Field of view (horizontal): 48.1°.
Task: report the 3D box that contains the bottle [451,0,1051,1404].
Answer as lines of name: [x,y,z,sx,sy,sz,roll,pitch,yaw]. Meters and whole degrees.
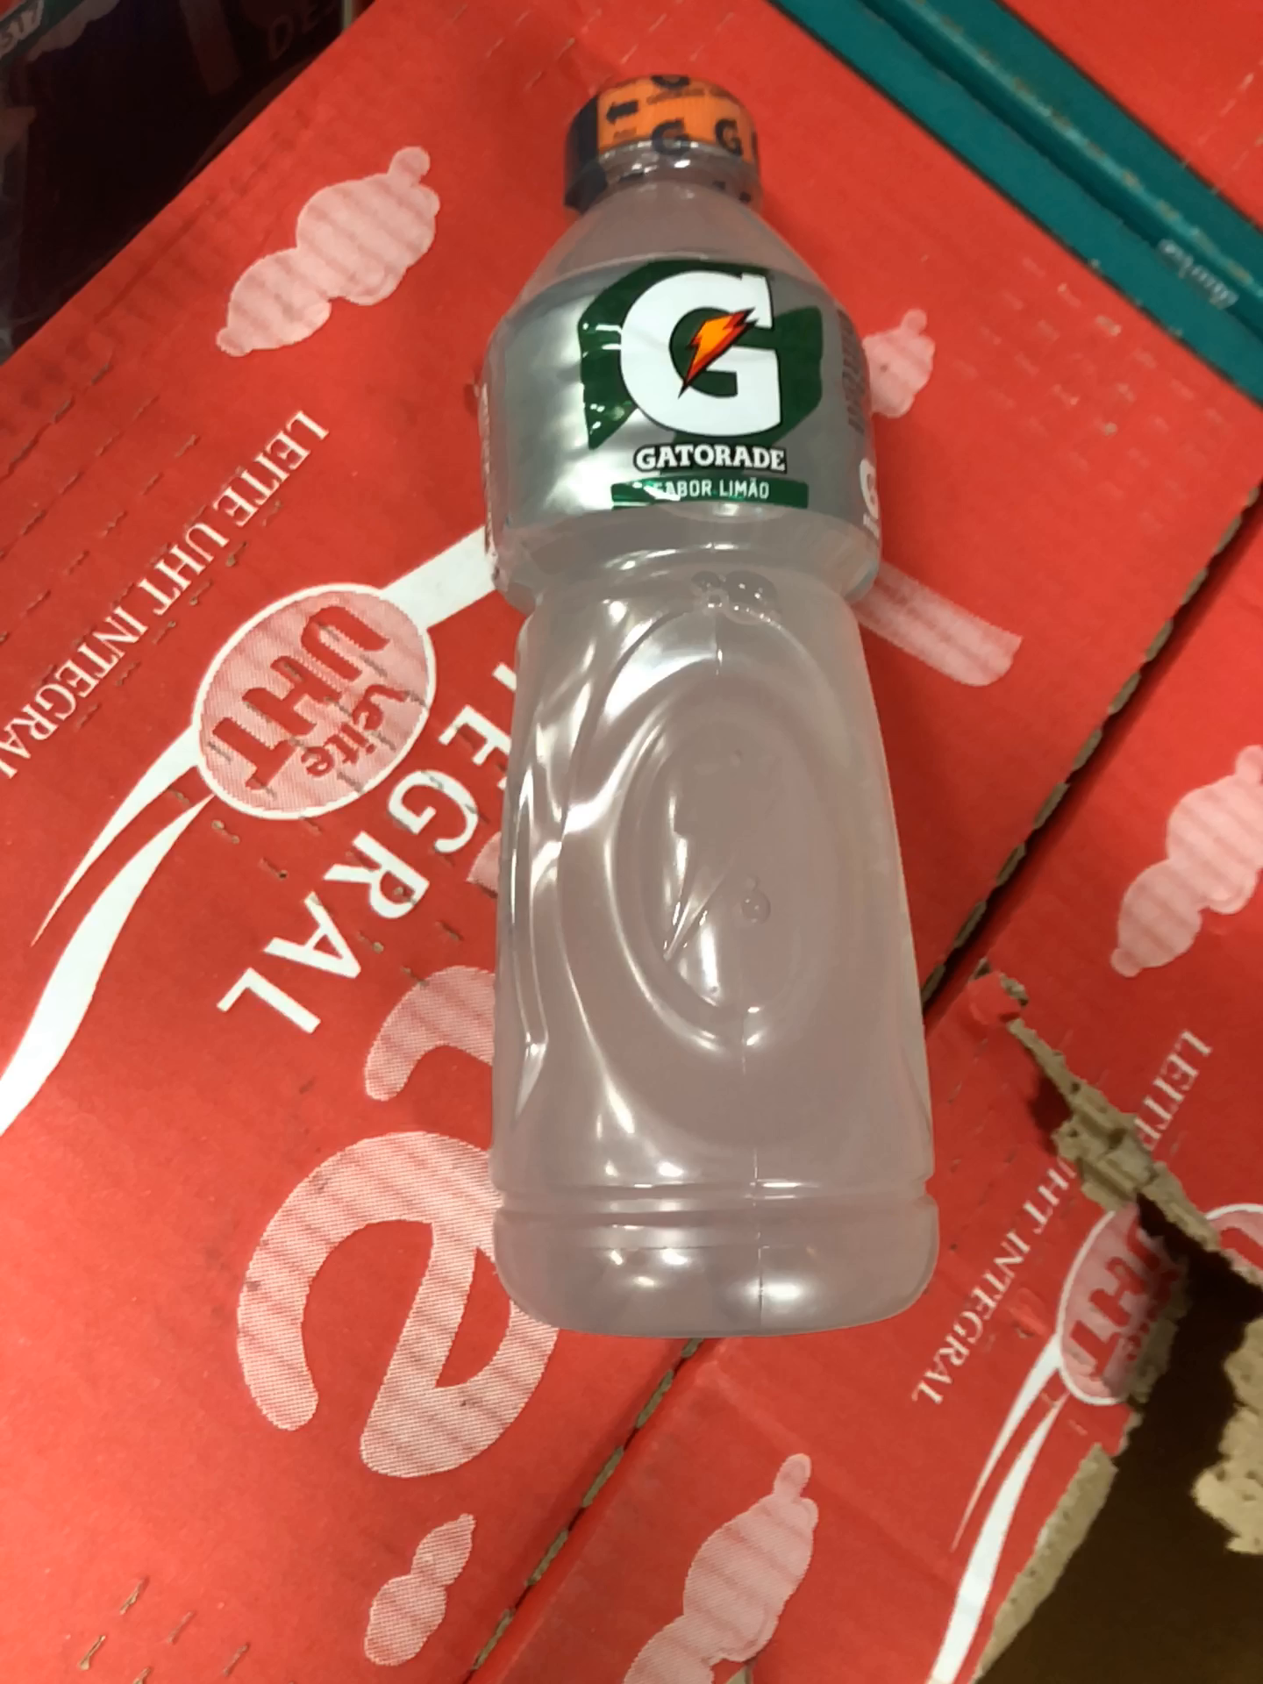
bottle: [0.011,-0.029,0.230,0.070,0.060,0.210,0,79,-12]

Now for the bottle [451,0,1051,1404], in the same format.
bottle: [0.011,-0.029,0.230,0.070,0.060,0.210,0,79,-12]
